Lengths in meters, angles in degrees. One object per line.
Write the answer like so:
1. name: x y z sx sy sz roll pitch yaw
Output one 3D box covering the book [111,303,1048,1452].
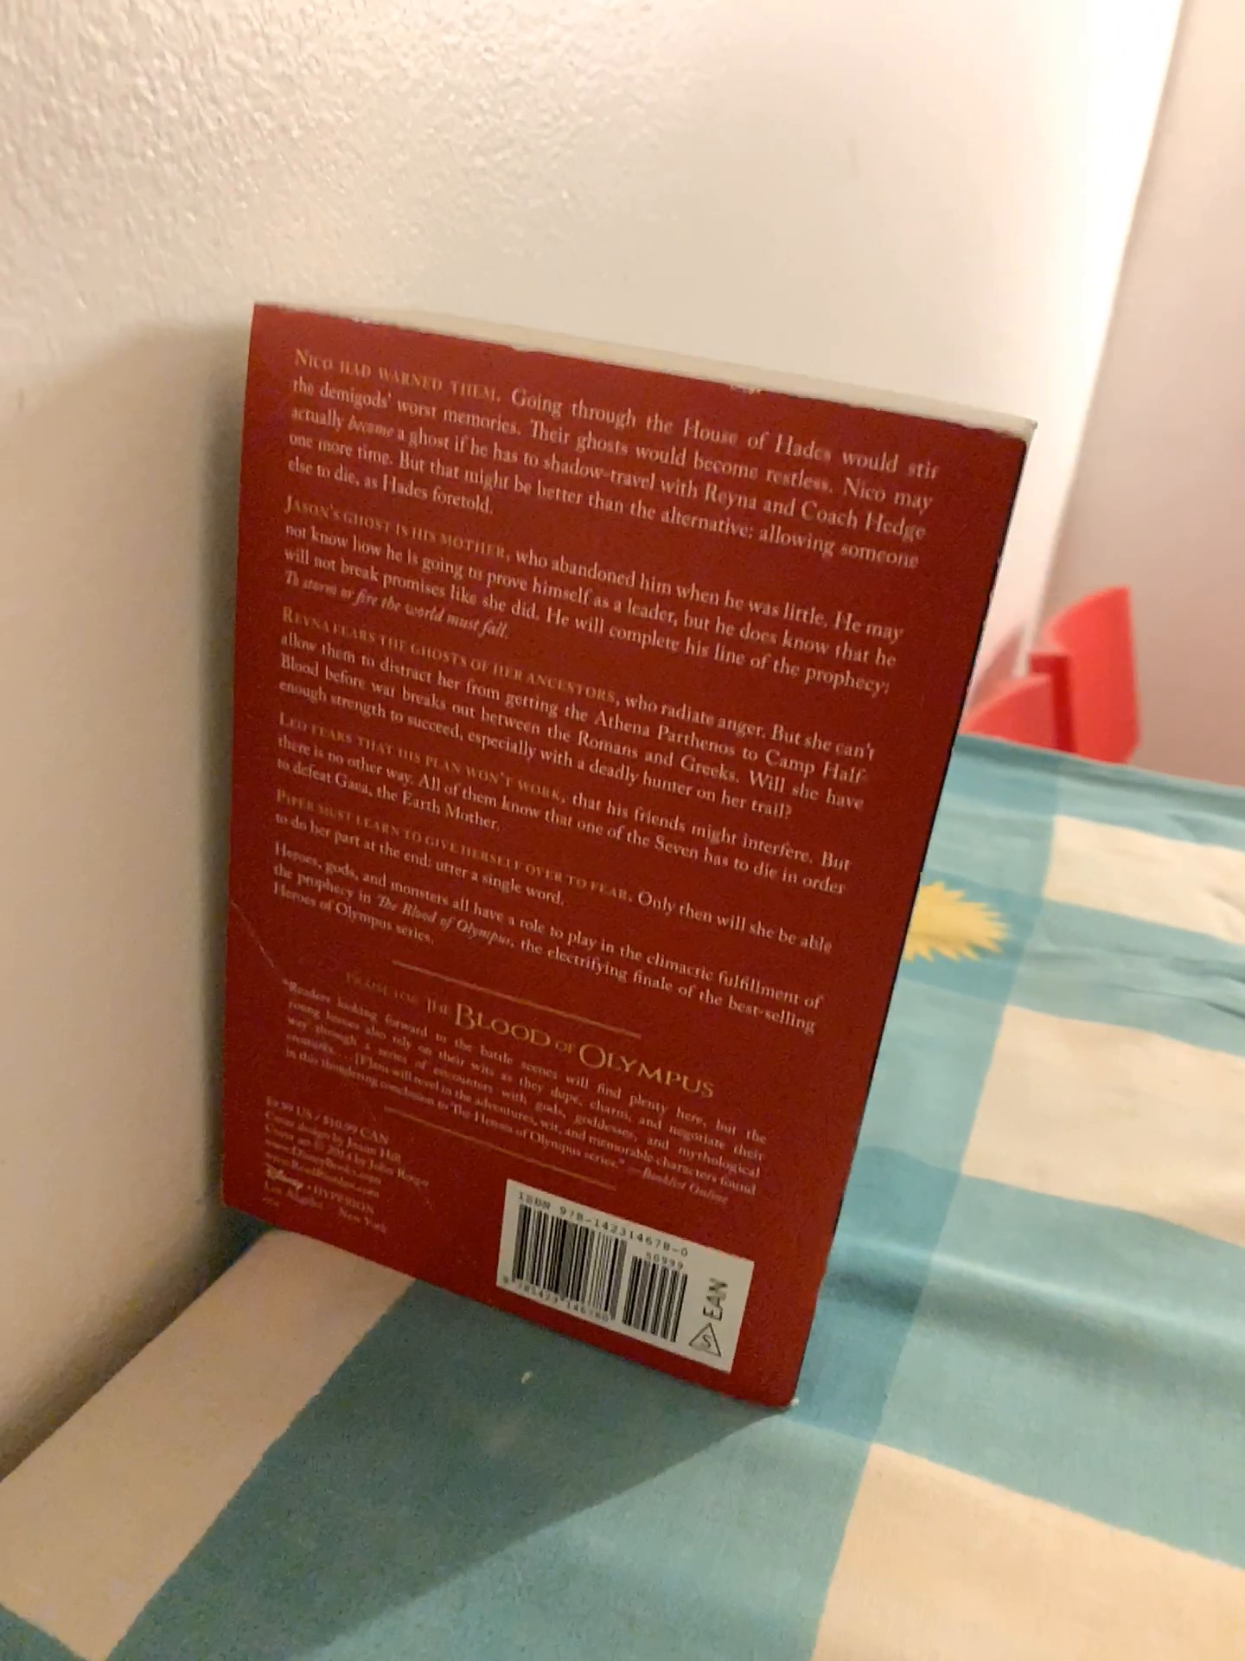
1. book: -0.017 0.004 0.250 0.150 0.180 0.051 14 22 18
